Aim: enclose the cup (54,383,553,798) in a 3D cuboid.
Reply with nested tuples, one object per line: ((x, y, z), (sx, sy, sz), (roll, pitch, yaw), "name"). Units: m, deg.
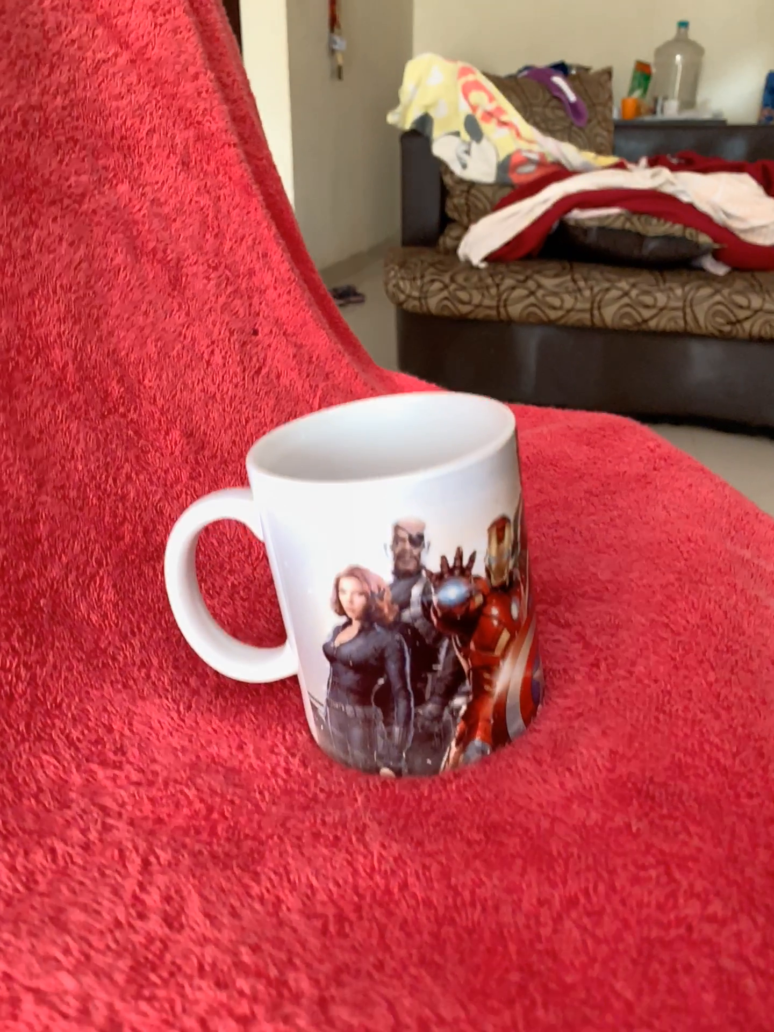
((-0.013, 0.016, 0.248), (0.120, 0.089, 0.091), (-1, 20, 14), "cup")
